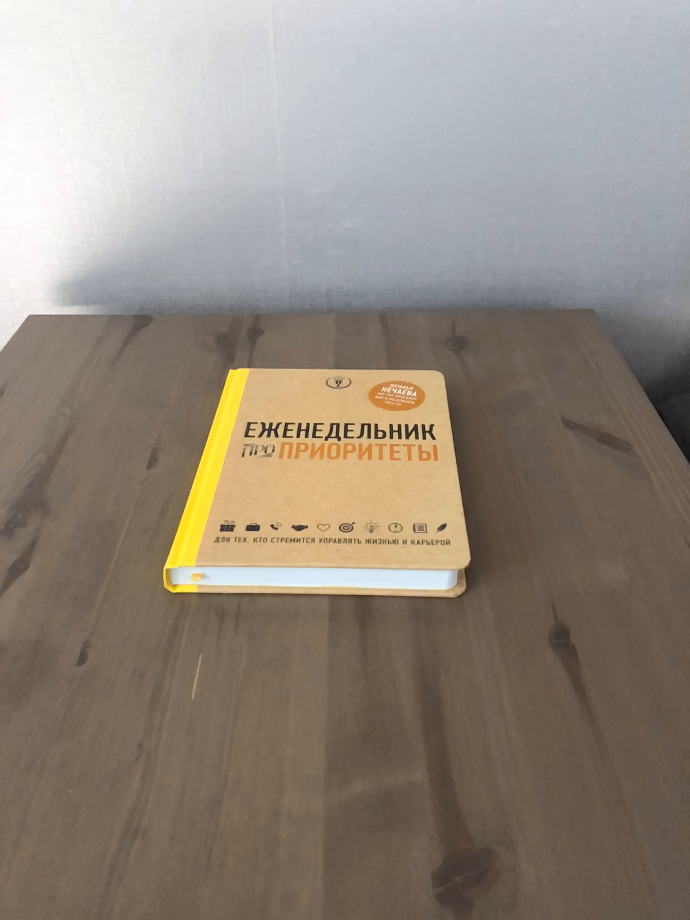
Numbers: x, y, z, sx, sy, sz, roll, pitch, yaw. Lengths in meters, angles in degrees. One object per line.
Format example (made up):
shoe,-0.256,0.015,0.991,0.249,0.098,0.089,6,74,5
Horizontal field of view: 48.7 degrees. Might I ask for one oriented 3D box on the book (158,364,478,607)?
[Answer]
book,-0.012,0.004,0.530,0.180,0.032,0.230,0,36,2
